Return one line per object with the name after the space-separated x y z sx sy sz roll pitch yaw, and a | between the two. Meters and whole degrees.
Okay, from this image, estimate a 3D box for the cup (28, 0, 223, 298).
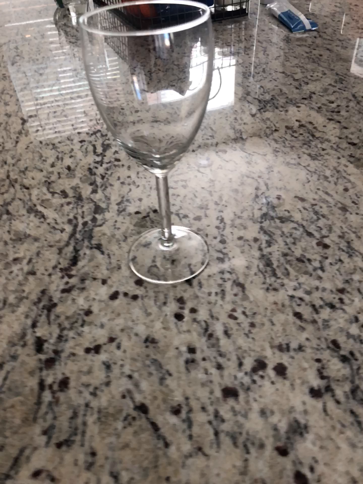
-0.019 -0.055 0.262 0.080 0.169 0.081 -2 41 2 | cup
